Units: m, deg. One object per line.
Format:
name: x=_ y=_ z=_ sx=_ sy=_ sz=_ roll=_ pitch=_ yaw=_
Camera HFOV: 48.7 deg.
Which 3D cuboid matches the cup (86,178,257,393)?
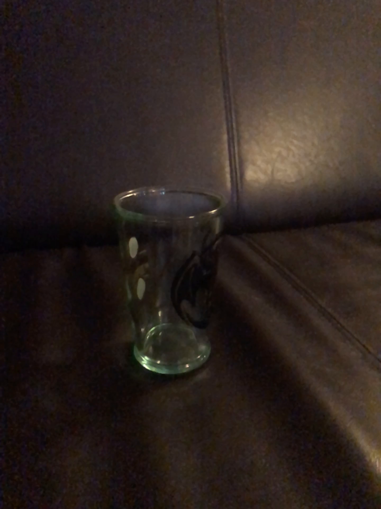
cup: x=-0.010 y=0.015 z=0.310 sx=0.087 sy=0.117 sz=0.085 roll=1 pitch=23 yaw=0
